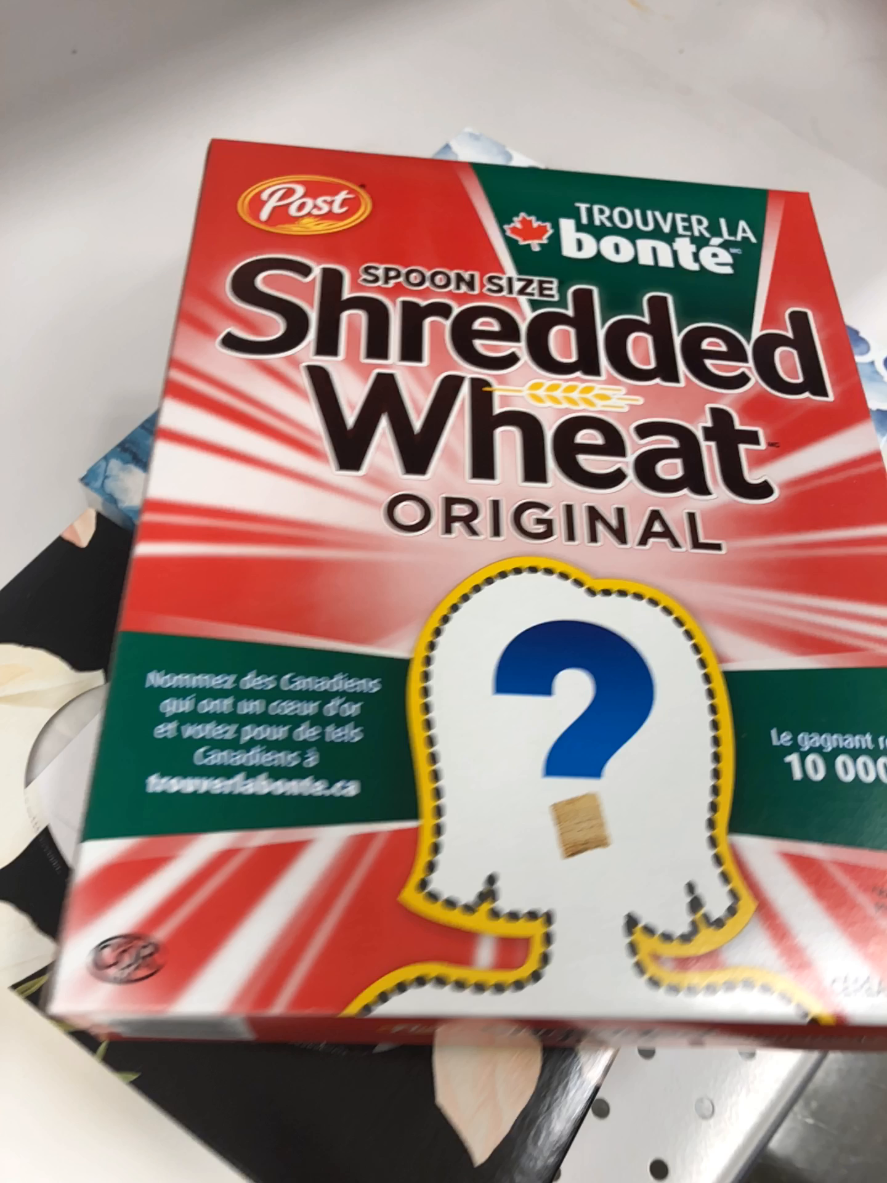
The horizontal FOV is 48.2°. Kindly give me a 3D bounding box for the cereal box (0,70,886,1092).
[{"bbox_3d":[0.027,-0.022,0.275,0.230,0.060,0.280,3,59,-4],"label":"cereal box"}]
